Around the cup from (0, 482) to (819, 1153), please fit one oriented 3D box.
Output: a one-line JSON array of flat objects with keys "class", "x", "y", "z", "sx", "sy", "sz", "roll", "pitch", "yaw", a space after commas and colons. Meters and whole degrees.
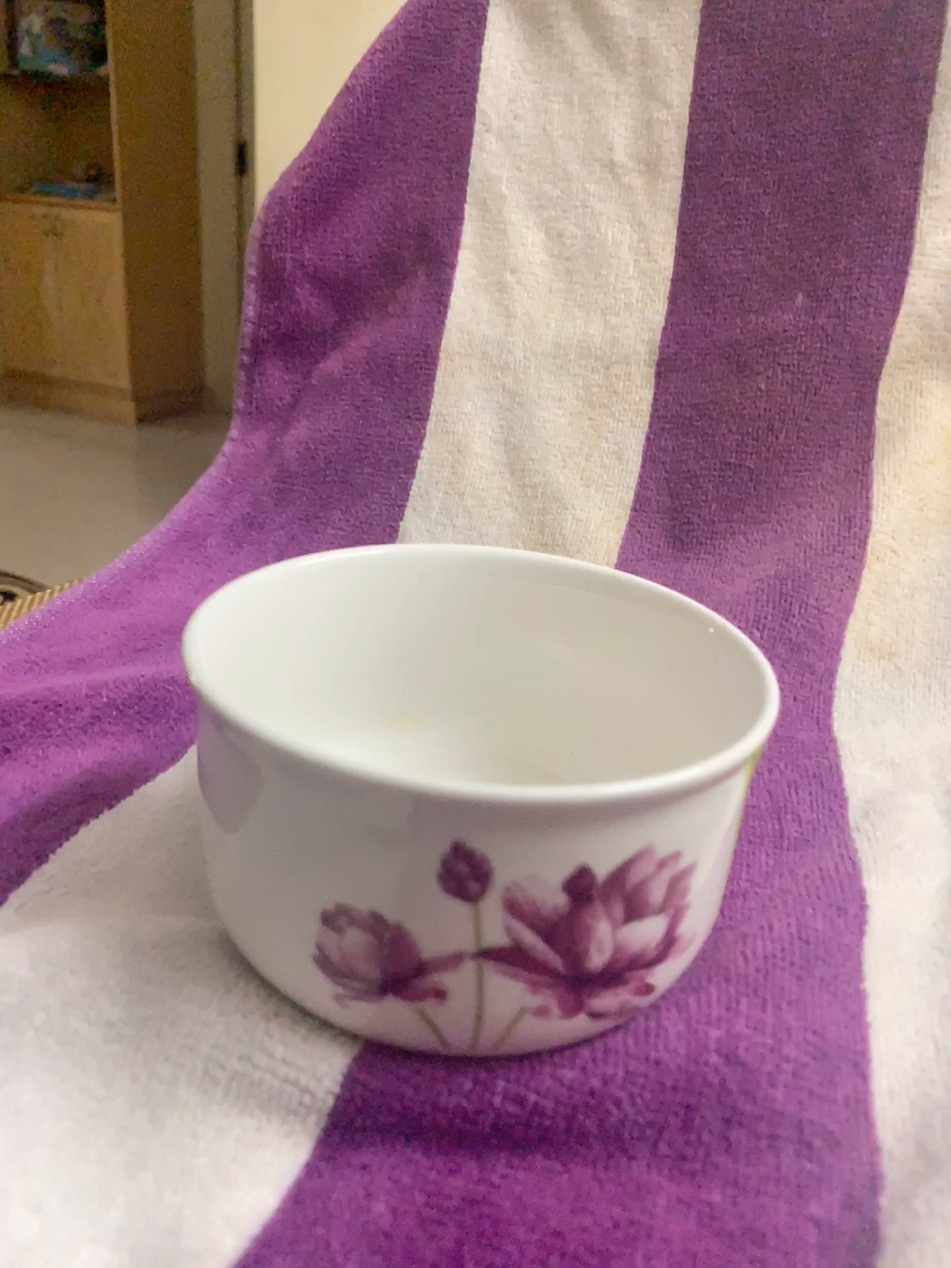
[{"class": "cup", "x": -0.003, "y": 0.017, "z": 0.176, "sx": 0.110, "sy": 0.050, "sz": 0.101, "roll": 4, "pitch": 24, "yaw": -2}]
